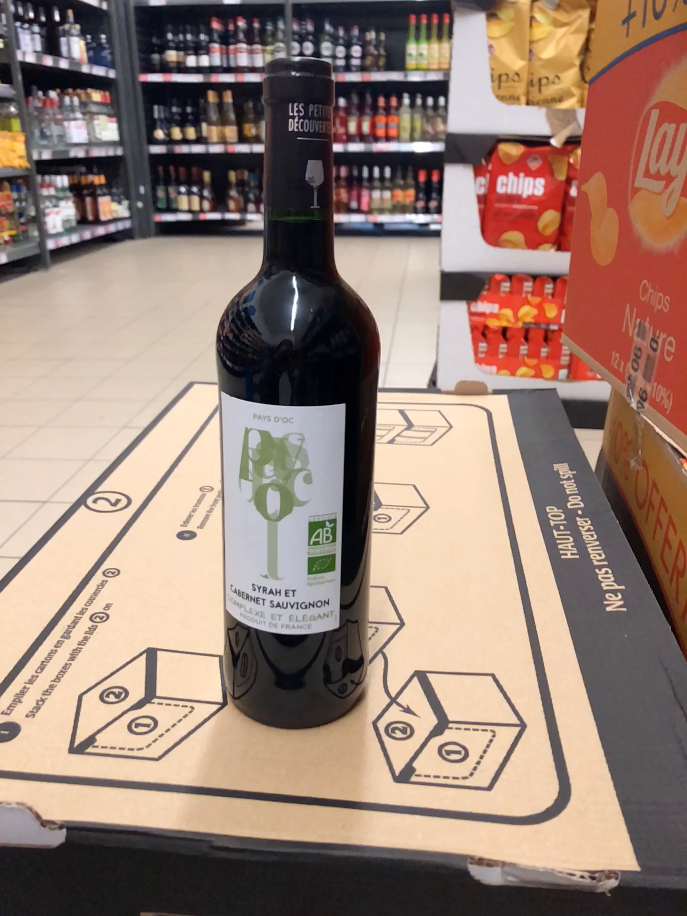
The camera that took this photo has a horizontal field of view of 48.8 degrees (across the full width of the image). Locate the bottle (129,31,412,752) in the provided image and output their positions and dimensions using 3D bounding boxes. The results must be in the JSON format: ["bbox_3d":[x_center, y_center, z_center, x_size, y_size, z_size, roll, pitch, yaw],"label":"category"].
[{"bbox_3d":[-0.025,-0.020,0.351,0.090,0.299,0.080,5,20,14],"label":"bottle"}]
